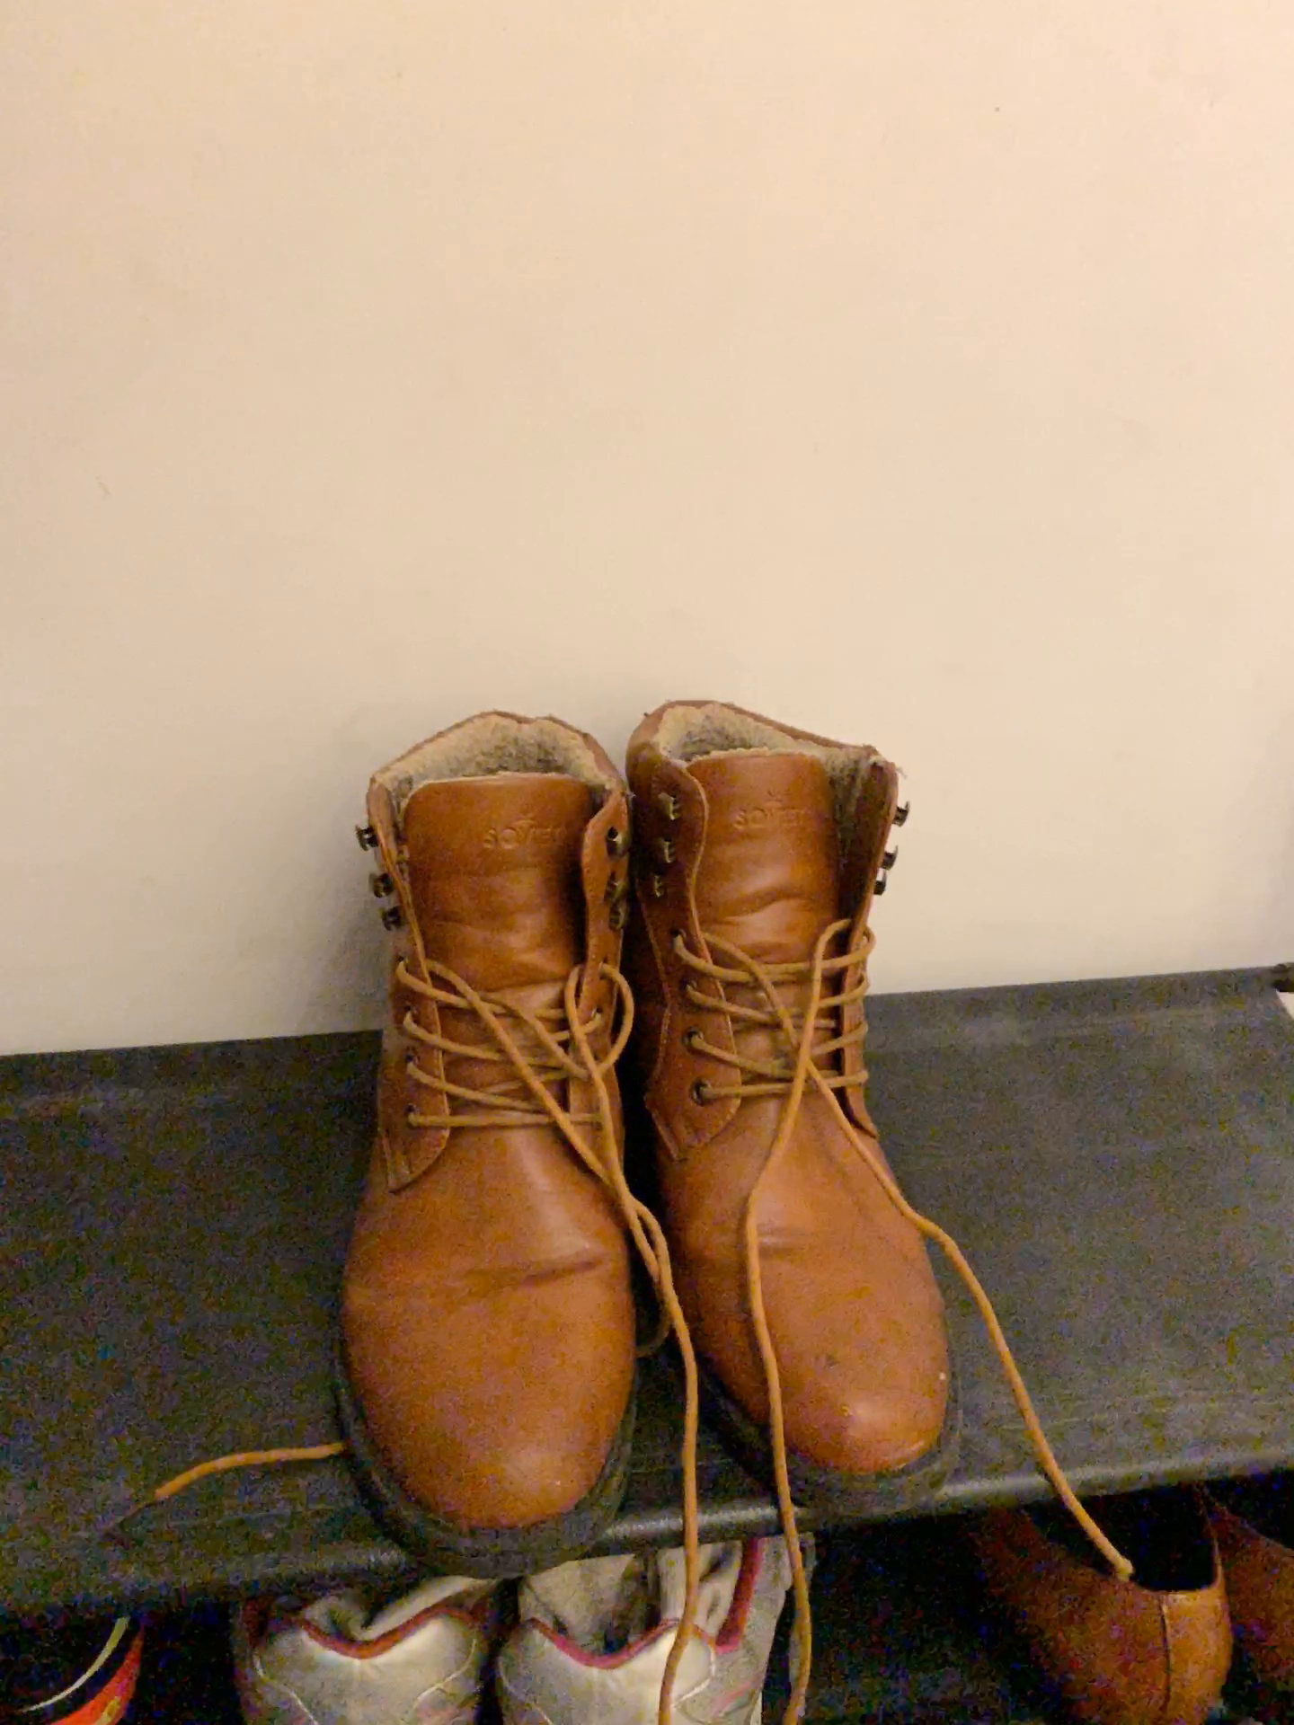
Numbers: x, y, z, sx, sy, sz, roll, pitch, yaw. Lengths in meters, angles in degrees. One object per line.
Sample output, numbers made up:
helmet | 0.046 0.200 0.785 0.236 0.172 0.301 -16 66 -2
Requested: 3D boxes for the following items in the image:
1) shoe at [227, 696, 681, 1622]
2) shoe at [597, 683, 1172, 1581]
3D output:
shoe | -0.057 0.083 0.491 0.110 0.198 0.272 0 29 -4
shoe | 0.056 0.076 0.483 0.110 0.198 0.242 -4 30 -10
